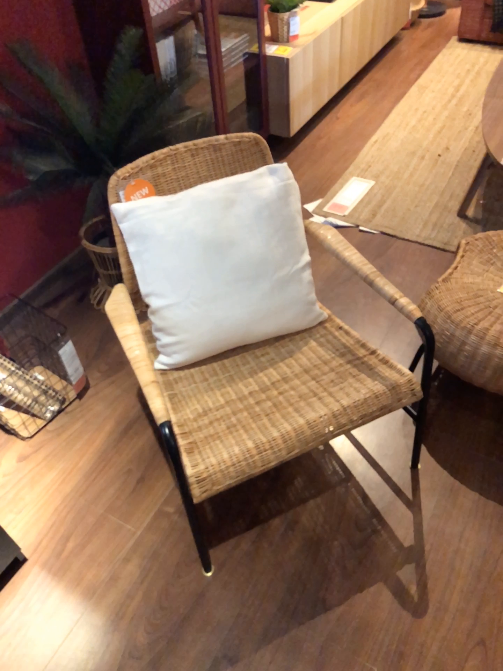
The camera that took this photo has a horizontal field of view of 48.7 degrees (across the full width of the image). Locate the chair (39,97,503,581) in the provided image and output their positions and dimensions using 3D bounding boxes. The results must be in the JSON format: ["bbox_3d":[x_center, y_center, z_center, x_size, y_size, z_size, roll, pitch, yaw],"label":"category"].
[{"bbox_3d":[0.014,-0.016,1.320,0.671,0.705,0.664,-22,48,-16],"label":"chair"}]
